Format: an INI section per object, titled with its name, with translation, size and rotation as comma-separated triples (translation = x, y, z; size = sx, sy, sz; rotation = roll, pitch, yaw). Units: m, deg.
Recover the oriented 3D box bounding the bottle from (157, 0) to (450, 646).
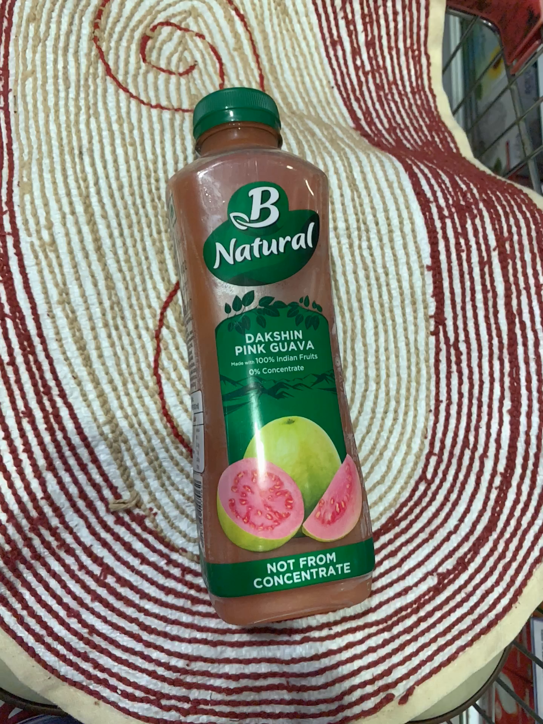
[bottle]
translation = 0.004, -0.018, 0.217
size = 0.080, 0.060, 0.210
rotation = -4, 84, -11
